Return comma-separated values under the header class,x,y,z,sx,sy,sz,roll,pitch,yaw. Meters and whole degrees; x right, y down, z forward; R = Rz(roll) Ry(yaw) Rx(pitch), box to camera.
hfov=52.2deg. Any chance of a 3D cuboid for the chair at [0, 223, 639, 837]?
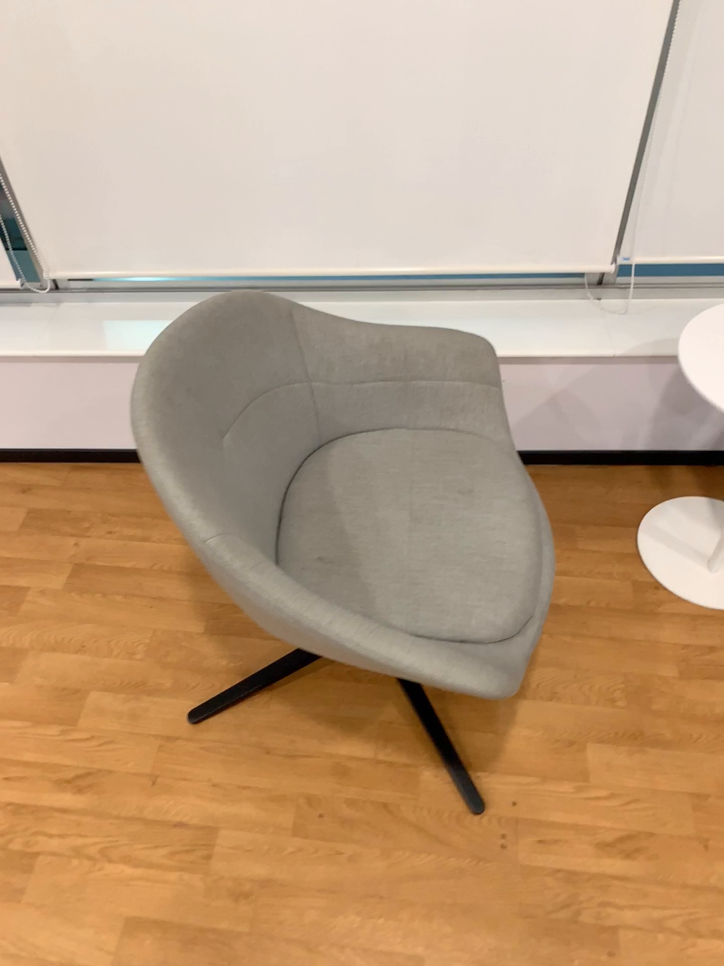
class,x,y,z,sx,sy,sz,roll,pitch,yaw
chair,-0.006,0.085,1.275,0.680,0.754,0.675,5,47,6
